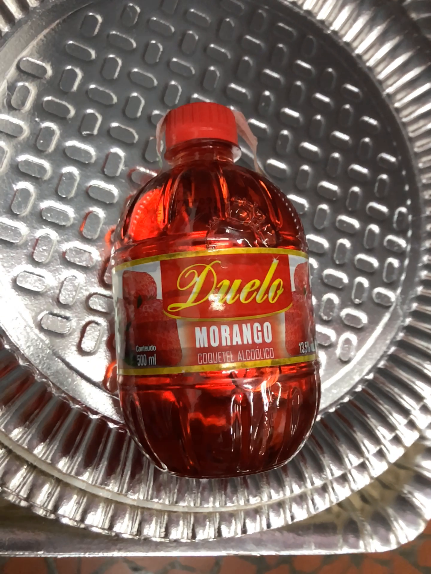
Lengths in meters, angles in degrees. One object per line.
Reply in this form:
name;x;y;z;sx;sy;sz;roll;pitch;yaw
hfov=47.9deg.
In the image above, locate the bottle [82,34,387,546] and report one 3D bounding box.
bottle;-0.001;-0.001;0.188;0.090;0.070;0.150;-2;85;-18
